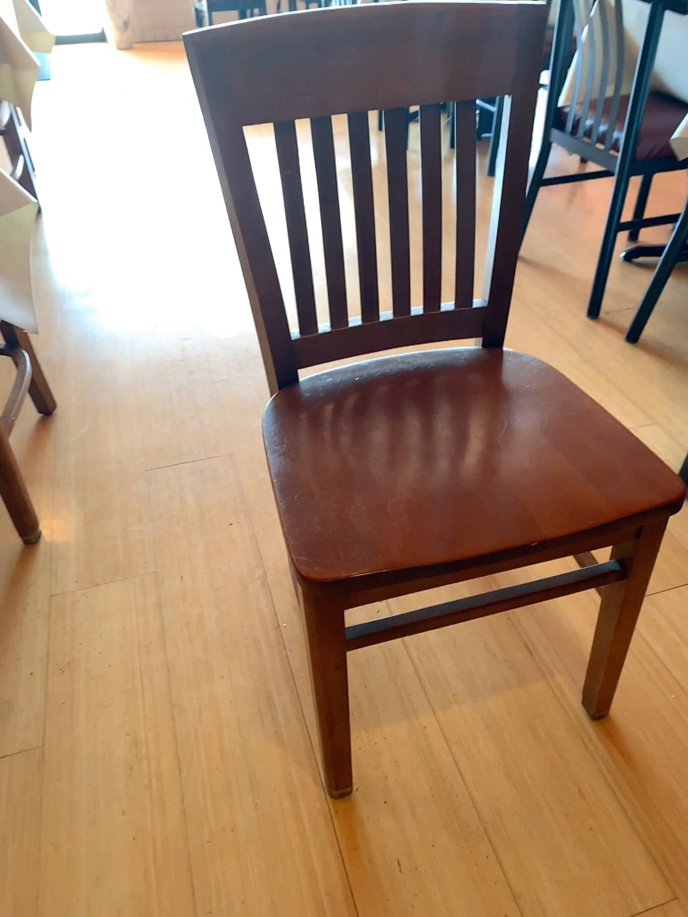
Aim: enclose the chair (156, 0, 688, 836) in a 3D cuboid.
[{"bbox_3d":[0.126,-0.066,0.932,0.540,0.875,0.573,-11,38,-11],"label":"chair"}]
